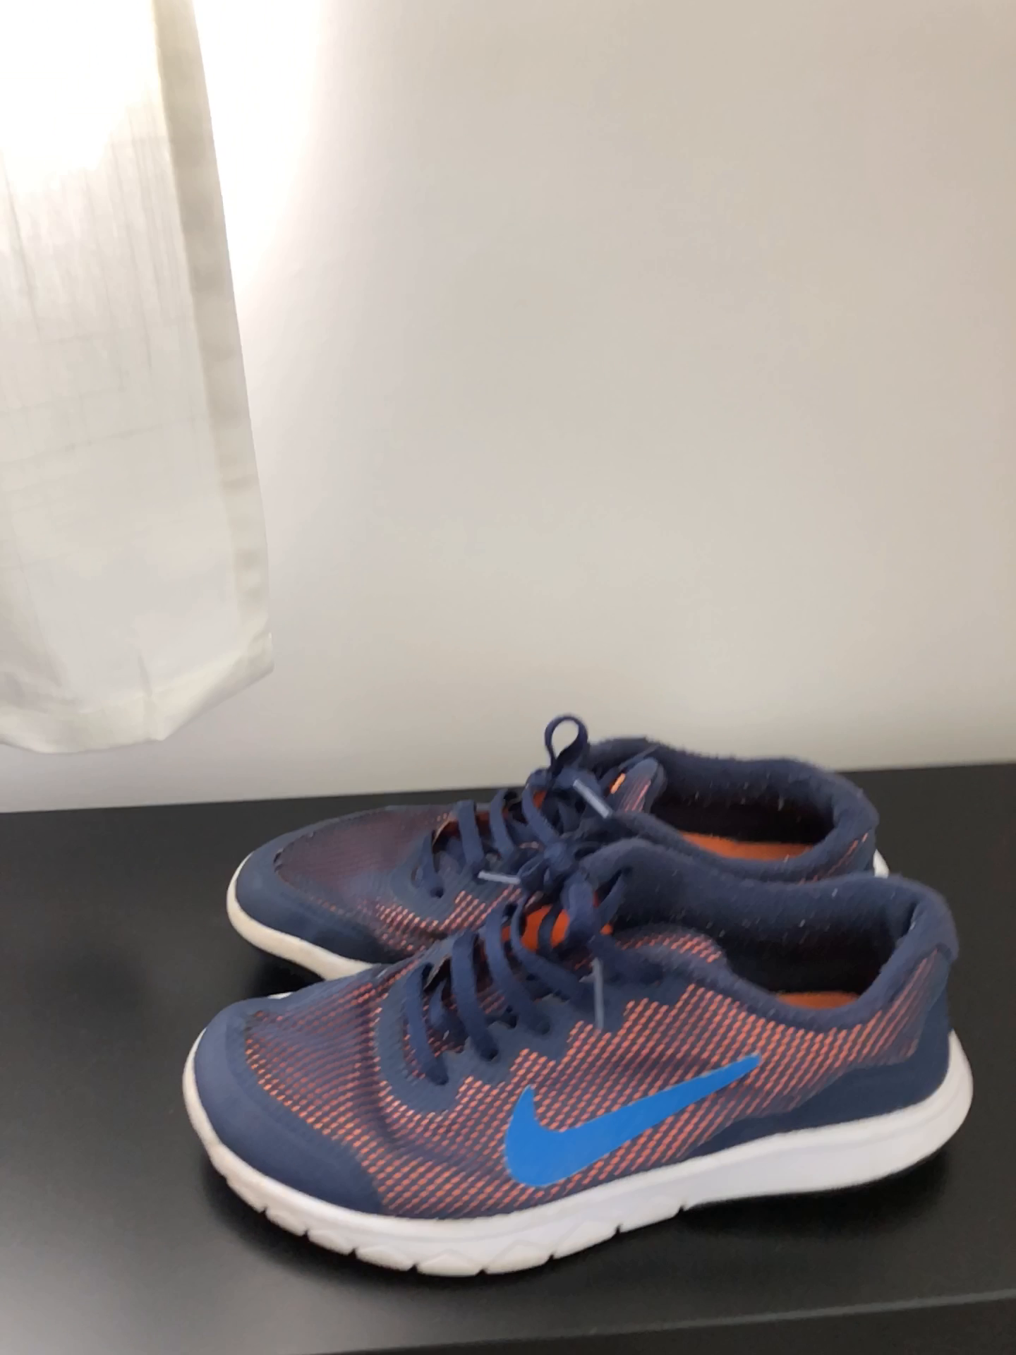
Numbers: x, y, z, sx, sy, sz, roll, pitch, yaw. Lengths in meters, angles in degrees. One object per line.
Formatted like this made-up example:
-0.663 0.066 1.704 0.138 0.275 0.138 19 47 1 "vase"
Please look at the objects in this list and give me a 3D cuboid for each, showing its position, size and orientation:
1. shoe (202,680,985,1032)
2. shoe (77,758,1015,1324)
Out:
0.028 0.065 0.437 0.260 0.089 0.100 0 29 -2 "shoe"
0.015 0.105 0.361 0.260 0.089 0.121 -3 29 -7 "shoe"
